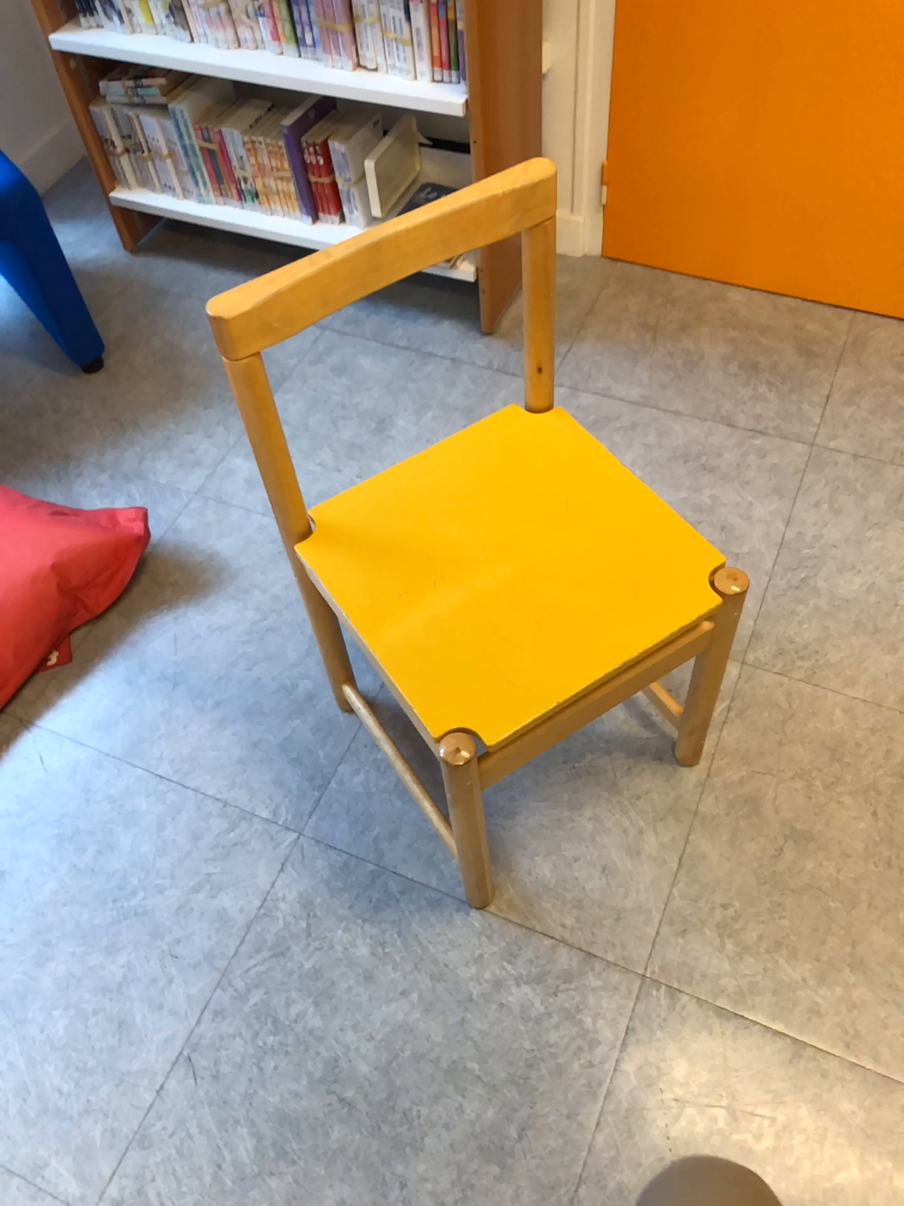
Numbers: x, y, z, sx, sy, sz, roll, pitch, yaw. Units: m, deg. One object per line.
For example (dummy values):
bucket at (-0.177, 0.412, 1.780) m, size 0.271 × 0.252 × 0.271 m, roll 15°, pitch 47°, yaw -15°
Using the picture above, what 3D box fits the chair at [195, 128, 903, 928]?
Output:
chair at (0.093, -0.048, 1.114) m, size 0.451 × 0.667 × 0.421 m, roll -30°, pitch 57°, yaw -17°
